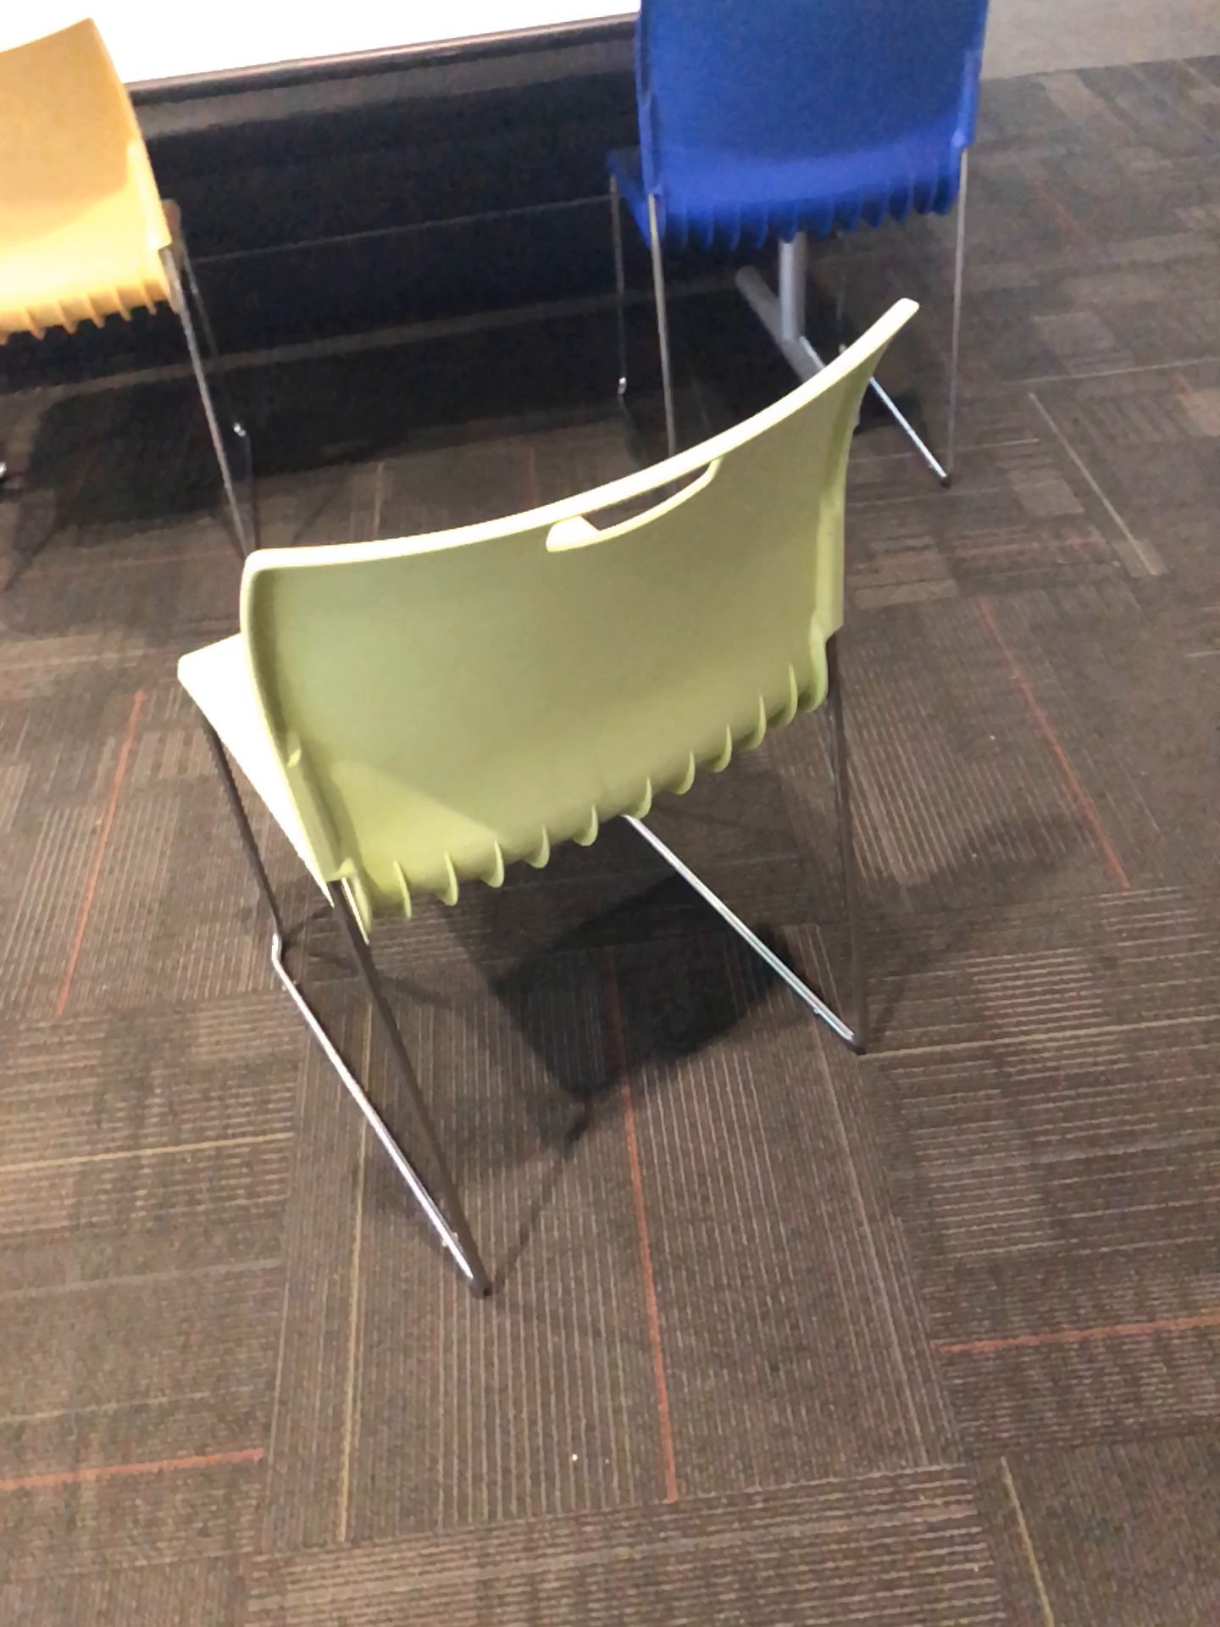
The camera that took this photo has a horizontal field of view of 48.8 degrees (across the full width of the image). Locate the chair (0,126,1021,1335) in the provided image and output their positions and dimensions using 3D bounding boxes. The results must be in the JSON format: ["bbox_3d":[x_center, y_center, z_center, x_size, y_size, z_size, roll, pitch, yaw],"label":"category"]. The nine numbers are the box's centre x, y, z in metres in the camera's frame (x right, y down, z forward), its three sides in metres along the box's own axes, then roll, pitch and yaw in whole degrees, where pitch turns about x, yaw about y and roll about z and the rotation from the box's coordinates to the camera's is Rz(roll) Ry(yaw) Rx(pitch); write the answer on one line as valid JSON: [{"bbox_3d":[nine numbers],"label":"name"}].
[{"bbox_3d":[-0.084,-0.079,1.191,0.540,0.756,0.542,-26,47,-21],"label":"chair"}]
